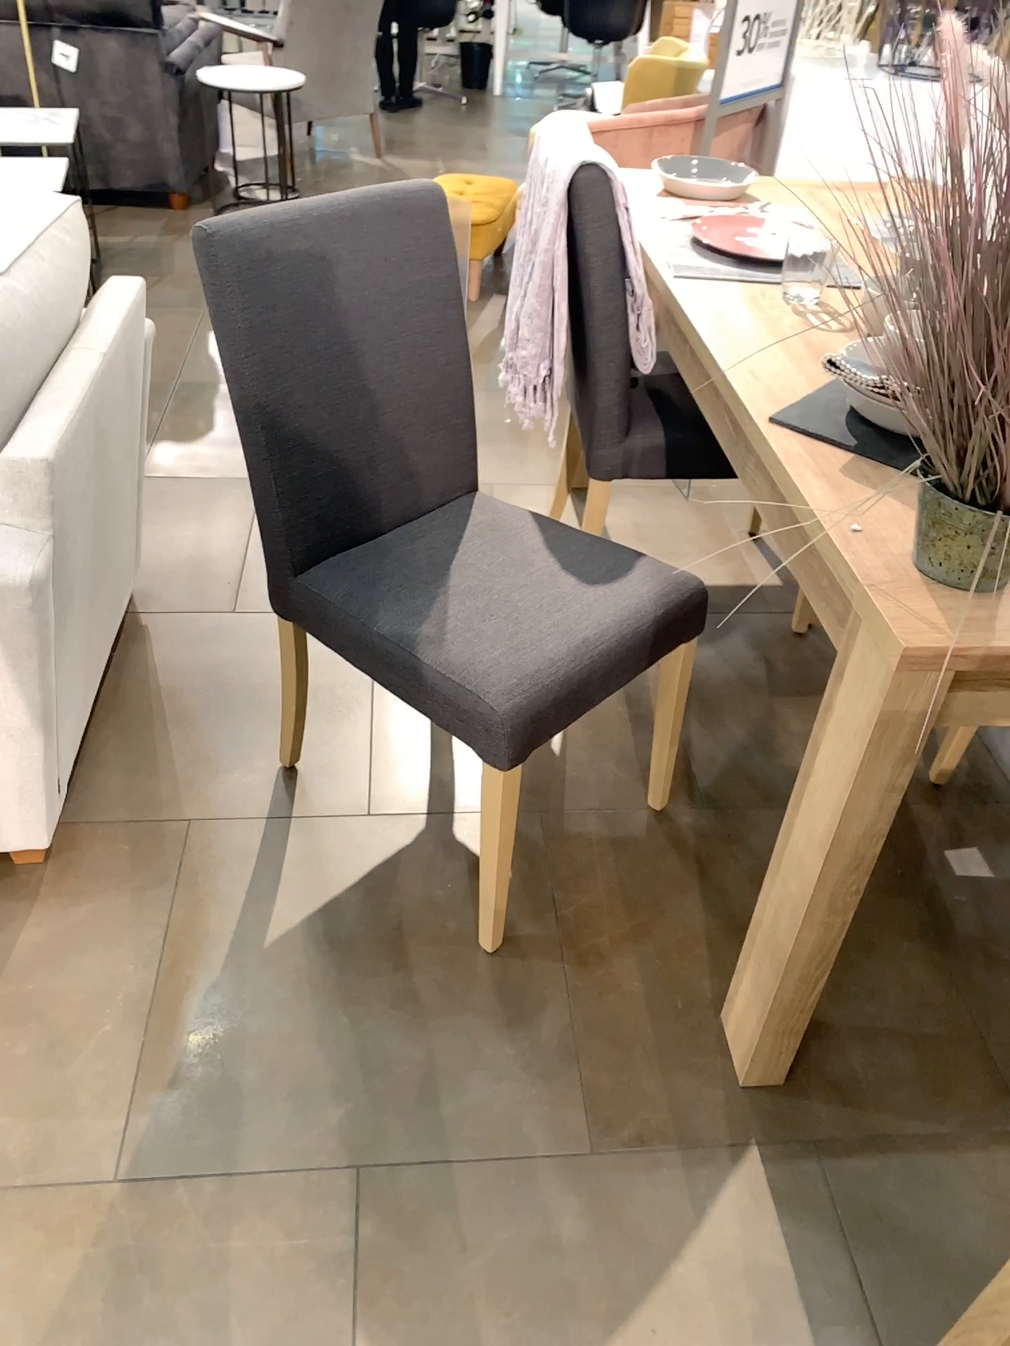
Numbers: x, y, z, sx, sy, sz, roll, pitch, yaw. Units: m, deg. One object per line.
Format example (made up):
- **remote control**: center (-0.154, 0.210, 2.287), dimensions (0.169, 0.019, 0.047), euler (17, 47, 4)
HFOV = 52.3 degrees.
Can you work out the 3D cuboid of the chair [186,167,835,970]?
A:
- **chair**: center (-0.028, -0.172, 1.523), dimensions (0.508, 0.889, 0.617), euler (-29, 49, -36)
